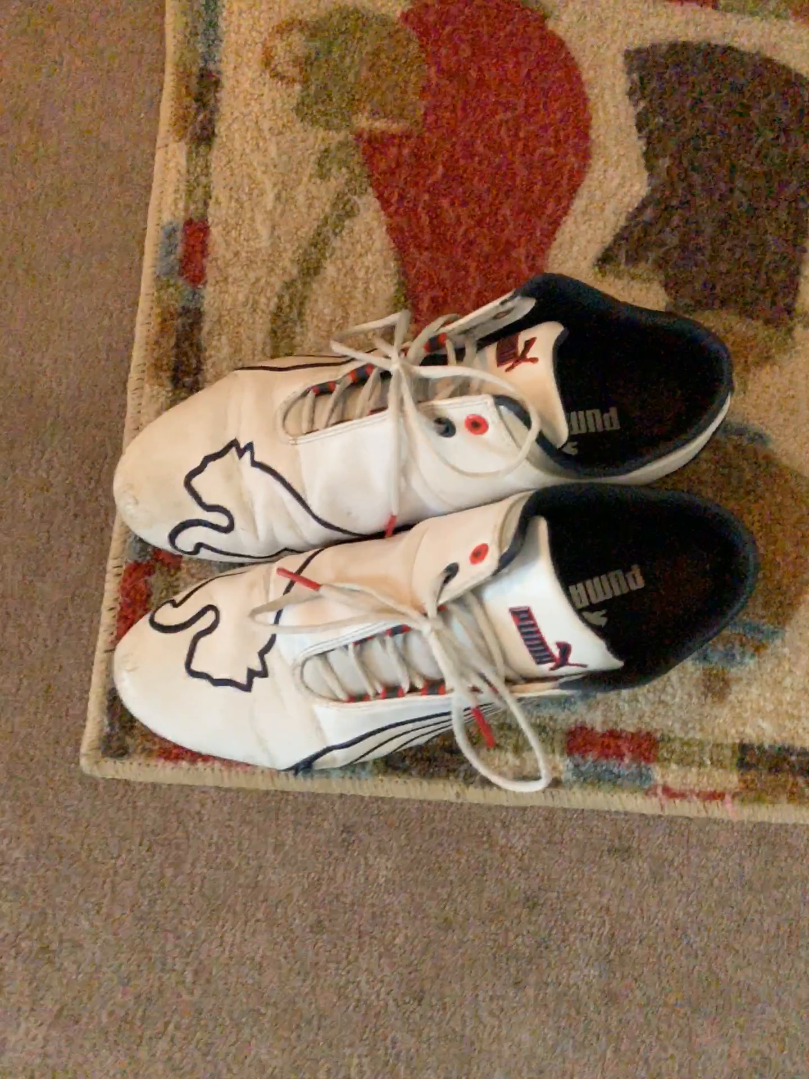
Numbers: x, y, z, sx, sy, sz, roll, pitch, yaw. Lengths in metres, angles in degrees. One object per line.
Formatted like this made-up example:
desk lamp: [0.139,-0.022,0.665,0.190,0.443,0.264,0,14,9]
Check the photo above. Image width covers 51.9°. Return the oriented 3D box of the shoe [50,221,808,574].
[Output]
shoe: [0.011,-0.059,0.374,0.290,0.107,0.100,-7,80,-7]

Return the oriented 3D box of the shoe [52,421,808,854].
shoe: [0.023,0.038,0.353,0.290,0.107,0.100,-11,81,-8]
